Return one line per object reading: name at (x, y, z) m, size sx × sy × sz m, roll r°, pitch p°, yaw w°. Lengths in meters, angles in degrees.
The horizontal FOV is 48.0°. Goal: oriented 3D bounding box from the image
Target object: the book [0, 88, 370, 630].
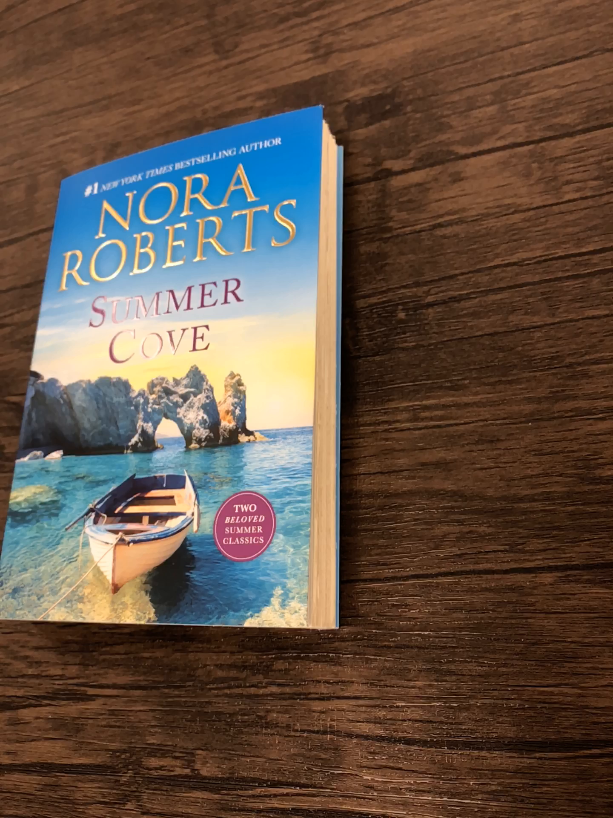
book at (-0.049, -0.018, 0.291) m, size 0.140 × 0.043 × 0.210 m, roll -6°, pitch 70°, yaw 20°
